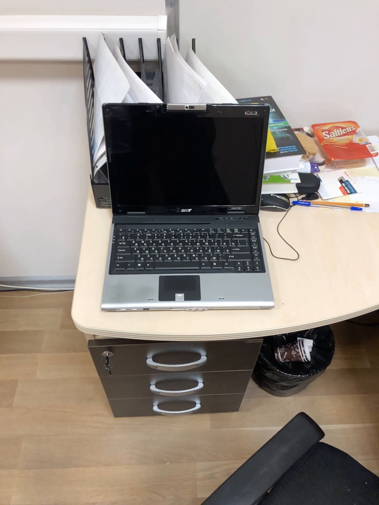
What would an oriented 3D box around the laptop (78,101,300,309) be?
[{"bbox_3d":[-0.005,-0.095,0.794,0.325,0.219,0.324,-1,52,-2],"label":"laptop"}]
